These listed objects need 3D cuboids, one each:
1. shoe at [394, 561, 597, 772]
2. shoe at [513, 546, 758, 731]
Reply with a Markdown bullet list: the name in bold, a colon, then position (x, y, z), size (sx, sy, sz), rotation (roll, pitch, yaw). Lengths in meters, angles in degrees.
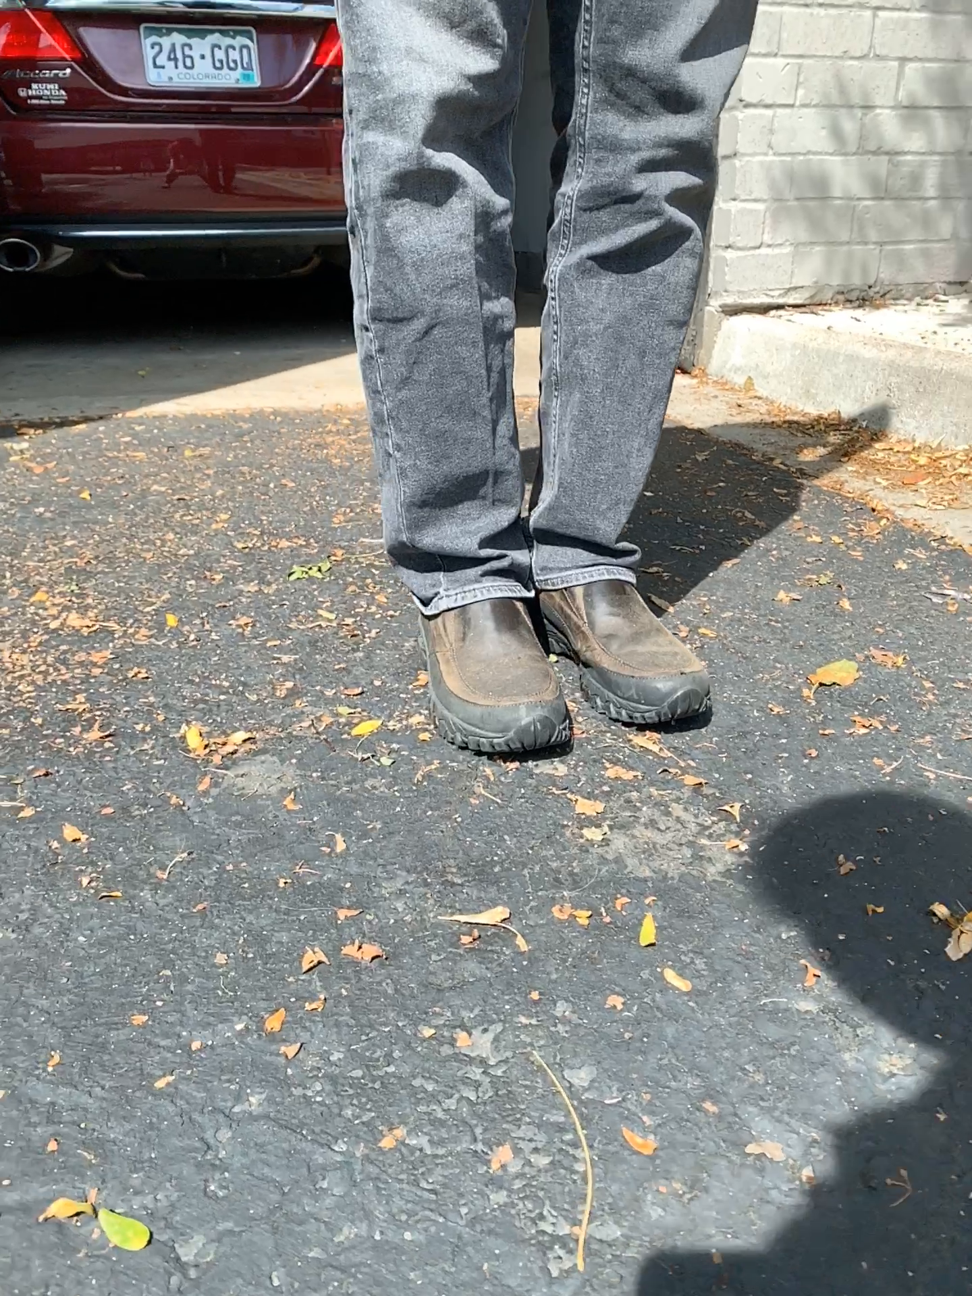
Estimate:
- **shoe**: position (-0.003, 0.003, 0.920), size (0.110, 0.070, 0.291), rotation (-6, 25, -14)
- **shoe**: position (0.129, -0.022, 0.960), size (0.110, 0.070, 0.291), rotation (-8, 23, -18)
